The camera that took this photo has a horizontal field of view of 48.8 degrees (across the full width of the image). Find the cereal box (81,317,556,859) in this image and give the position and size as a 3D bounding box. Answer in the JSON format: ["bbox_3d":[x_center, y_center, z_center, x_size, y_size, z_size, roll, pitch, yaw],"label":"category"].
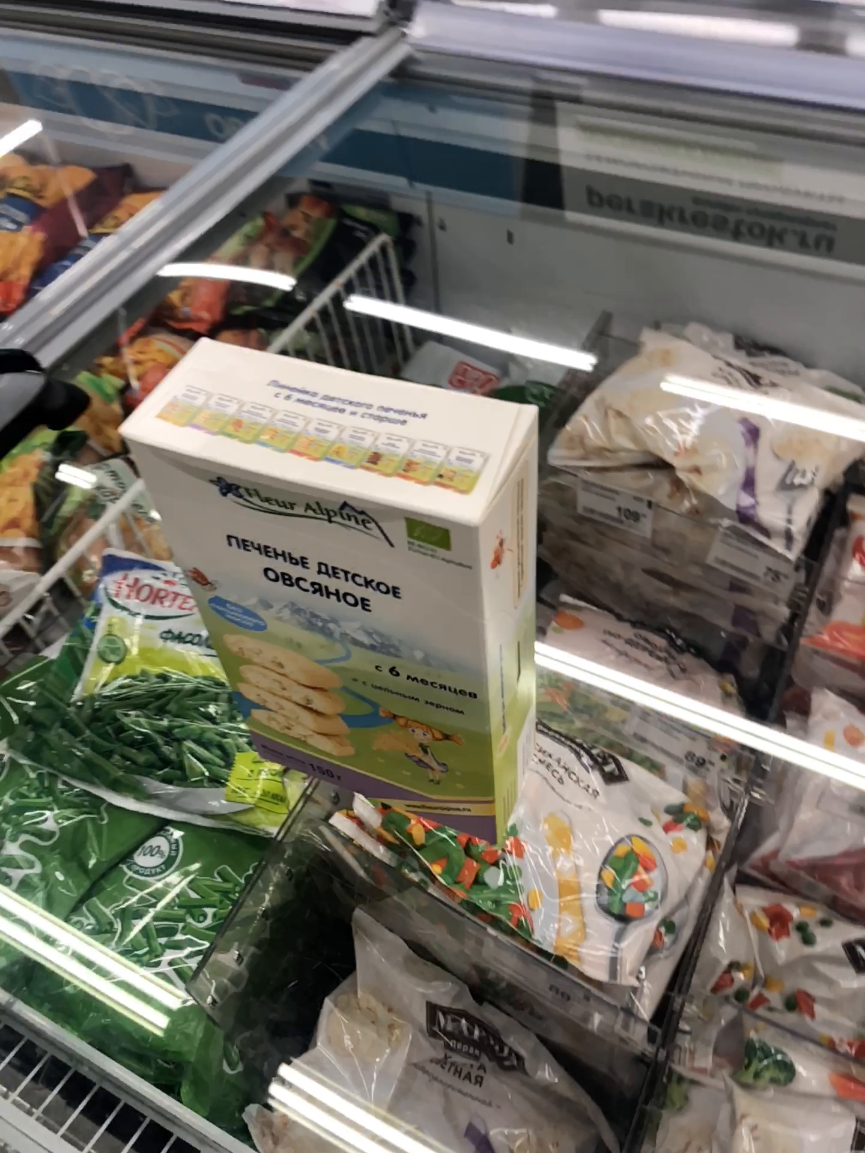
[{"bbox_3d":[-0.024,0.015,0.330,0.120,0.189,0.050,15,53,18],"label":"cereal box"}]
